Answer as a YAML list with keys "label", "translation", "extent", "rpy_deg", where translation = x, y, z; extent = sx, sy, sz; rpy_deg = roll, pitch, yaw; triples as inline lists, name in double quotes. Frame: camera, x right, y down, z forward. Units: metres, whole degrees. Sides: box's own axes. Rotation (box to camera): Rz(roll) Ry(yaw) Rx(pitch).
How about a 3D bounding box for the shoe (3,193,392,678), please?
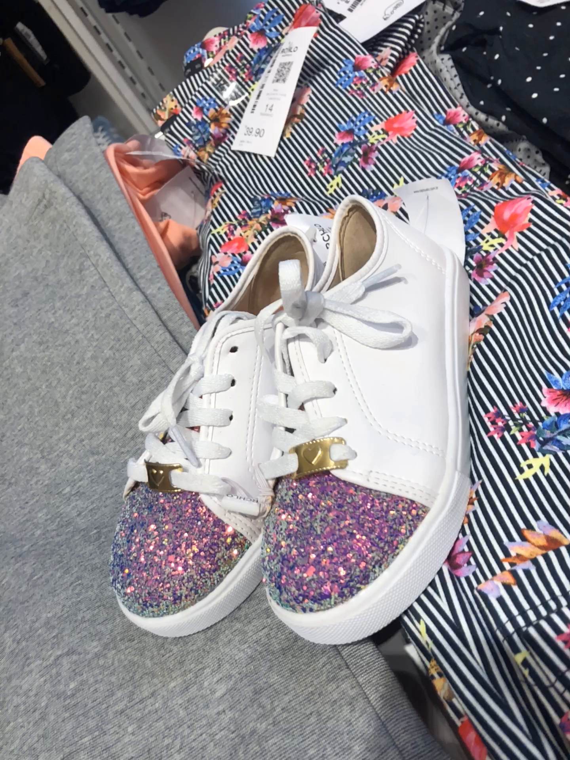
- label: "shoe"
  translation: [-0.025, 0.014, 0.283]
  extent: [0.080, 0.070, 0.190]
  rpy_deg: [4, 59, 33]

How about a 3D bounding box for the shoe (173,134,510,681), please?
- label: "shoe"
  translation: [0.037, 0.003, 0.263]
  extent: [0.080, 0.070, 0.201]
  rpy_deg: [-8, 52, 35]
